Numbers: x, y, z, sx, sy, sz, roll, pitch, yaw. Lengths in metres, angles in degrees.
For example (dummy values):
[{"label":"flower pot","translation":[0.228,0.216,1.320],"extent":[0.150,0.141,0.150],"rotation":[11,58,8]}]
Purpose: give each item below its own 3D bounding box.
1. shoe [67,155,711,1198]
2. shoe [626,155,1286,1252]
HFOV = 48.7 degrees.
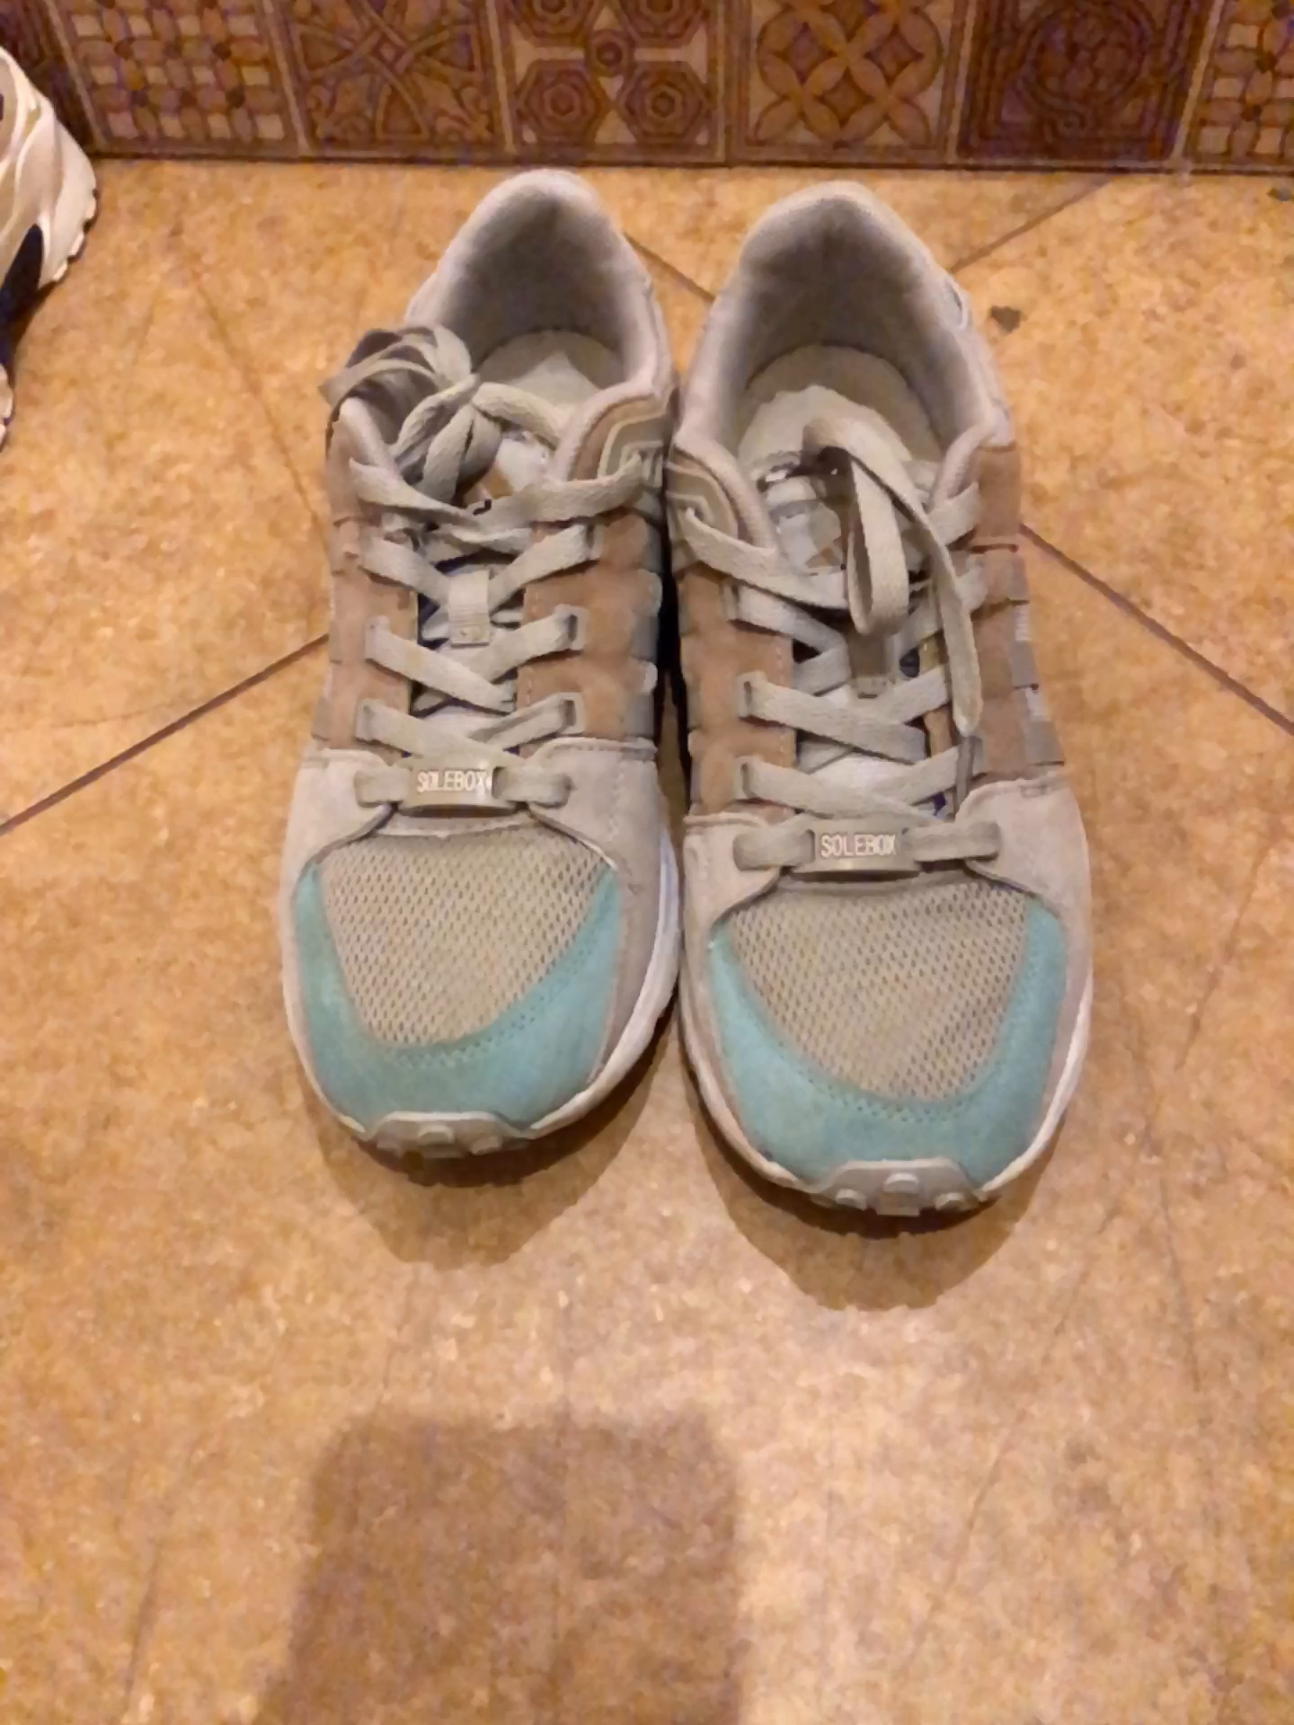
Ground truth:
[{"label":"shoe","translation":[-0.041,-0.058,0.353],"extent":[0.110,0.080,0.261],"rotation":[0,59,3]},{"label":"shoe","translation":[0.052,-0.050,0.340],"extent":[0.108,0.080,0.261],"rotation":[-2,58,2]}]
